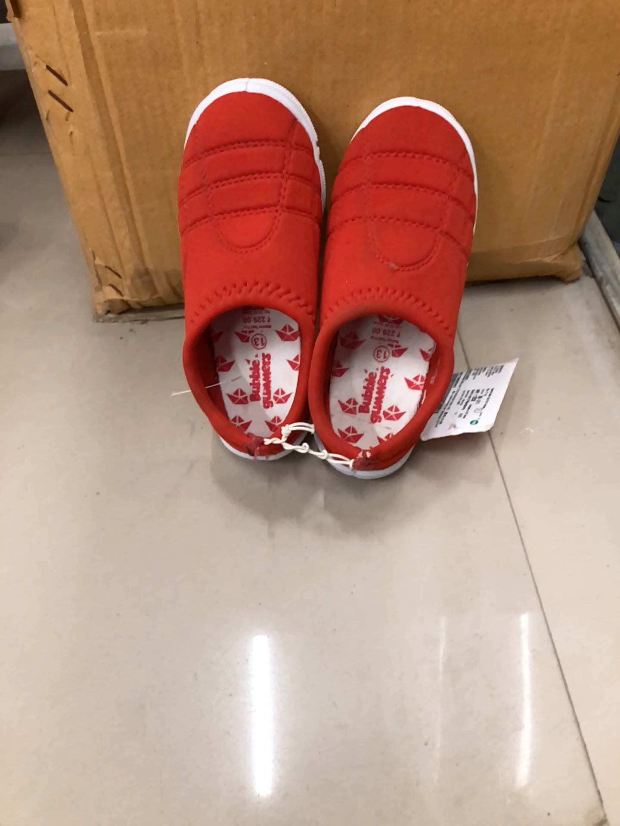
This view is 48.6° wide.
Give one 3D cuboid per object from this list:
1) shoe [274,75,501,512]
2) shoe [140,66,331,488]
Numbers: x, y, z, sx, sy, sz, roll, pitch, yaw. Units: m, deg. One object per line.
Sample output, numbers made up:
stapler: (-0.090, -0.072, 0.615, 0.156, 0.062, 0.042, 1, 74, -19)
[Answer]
shoe: (0.044, -0.064, 0.385, 0.084, 0.208, 0.081, 10, 11, 12)
shoe: (-0.033, -0.070, 0.382, 0.084, 0.204, 0.082, -2, 12, 2)
